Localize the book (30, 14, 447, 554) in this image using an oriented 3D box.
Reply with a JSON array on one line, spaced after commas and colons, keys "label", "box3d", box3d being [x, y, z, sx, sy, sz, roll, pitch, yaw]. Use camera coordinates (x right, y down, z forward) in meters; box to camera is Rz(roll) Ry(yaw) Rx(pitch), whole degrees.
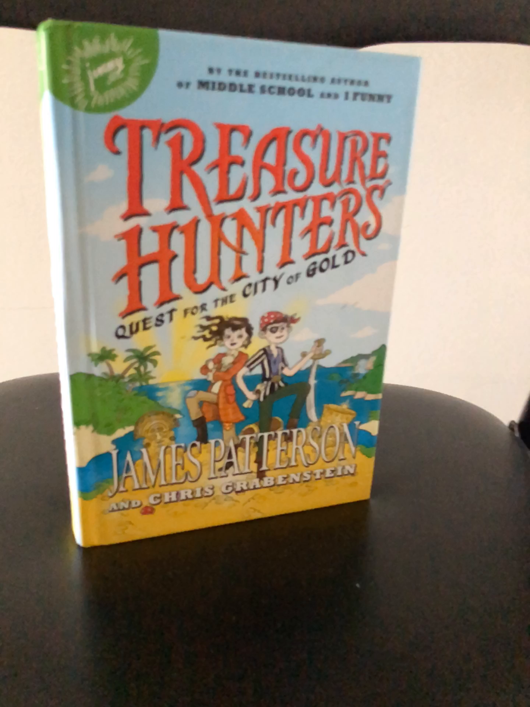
[{"label": "book", "box3d": [-0.012, -0.022, 0.267, 0.154, 0.215, 0.040, -5, 24, -18]}]
